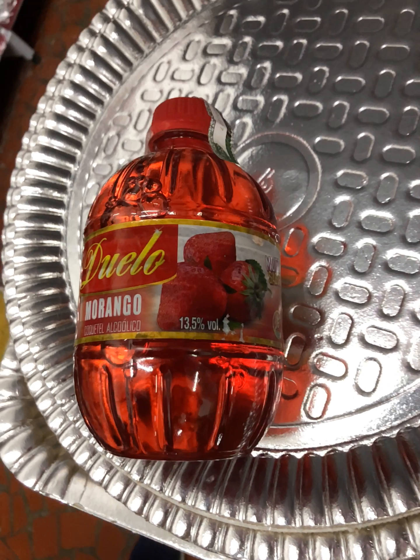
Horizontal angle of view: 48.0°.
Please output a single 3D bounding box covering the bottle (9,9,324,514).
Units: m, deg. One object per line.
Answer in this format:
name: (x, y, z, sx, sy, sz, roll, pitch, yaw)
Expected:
bottle: (-0.012, -0.003, 0.186, 0.090, 0.070, 0.150, -6, 76, 25)
